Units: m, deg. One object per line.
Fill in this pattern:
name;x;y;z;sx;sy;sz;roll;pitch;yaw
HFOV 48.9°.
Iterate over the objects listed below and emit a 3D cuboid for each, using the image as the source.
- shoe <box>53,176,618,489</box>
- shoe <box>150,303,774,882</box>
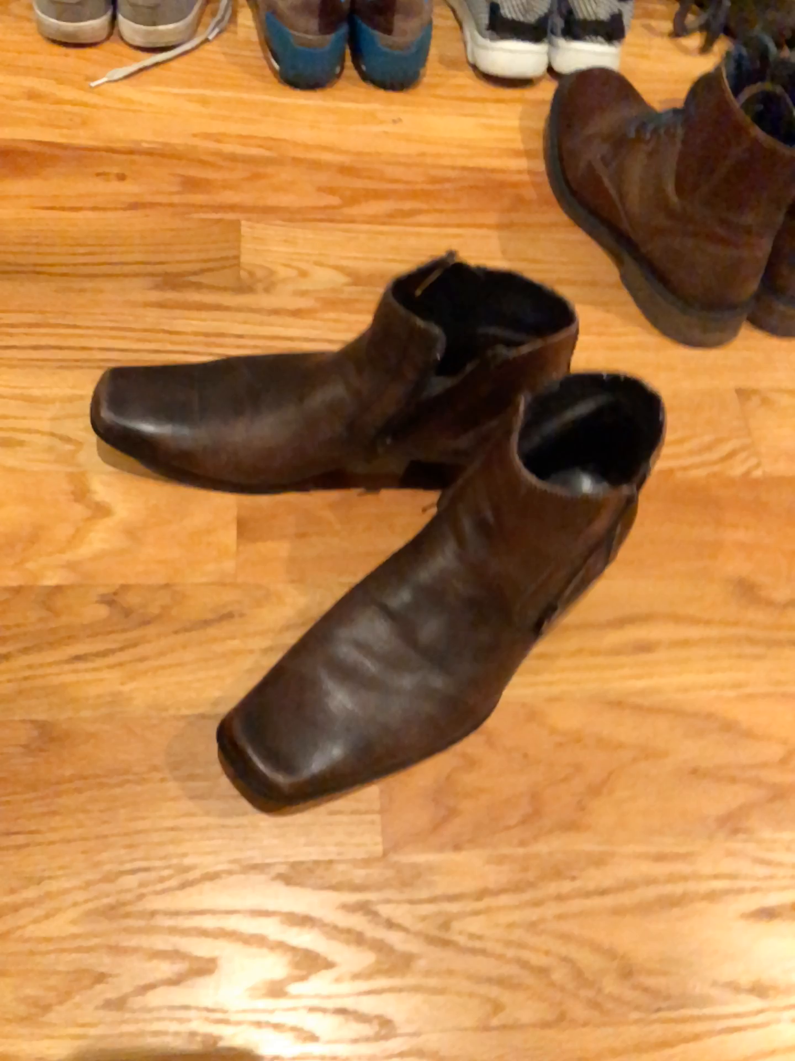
shoe;-0.038;-0.112;0.537;0.290;0.142;0.110;0;59;-8
shoe;0.037;0.028;0.469;0.301;0.152;0.109;-35;70;-25
